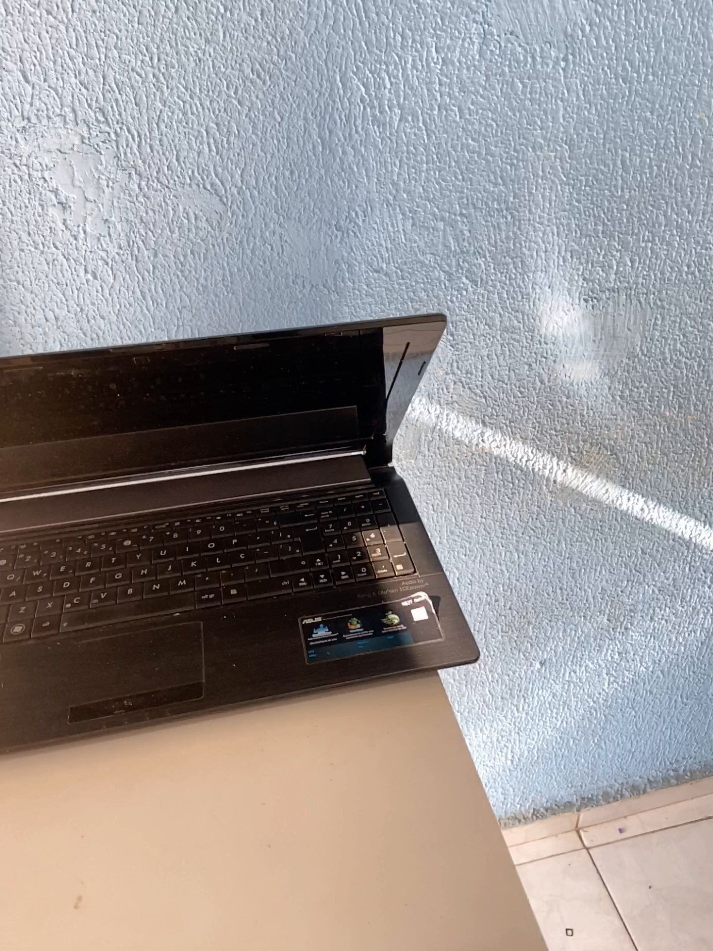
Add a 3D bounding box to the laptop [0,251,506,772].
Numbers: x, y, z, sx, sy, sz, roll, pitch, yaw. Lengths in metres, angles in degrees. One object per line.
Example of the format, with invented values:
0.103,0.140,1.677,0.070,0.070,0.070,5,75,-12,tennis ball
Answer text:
-0.131,-0.004,0.519,0.387,0.208,0.256,-8,33,-9,laptop
